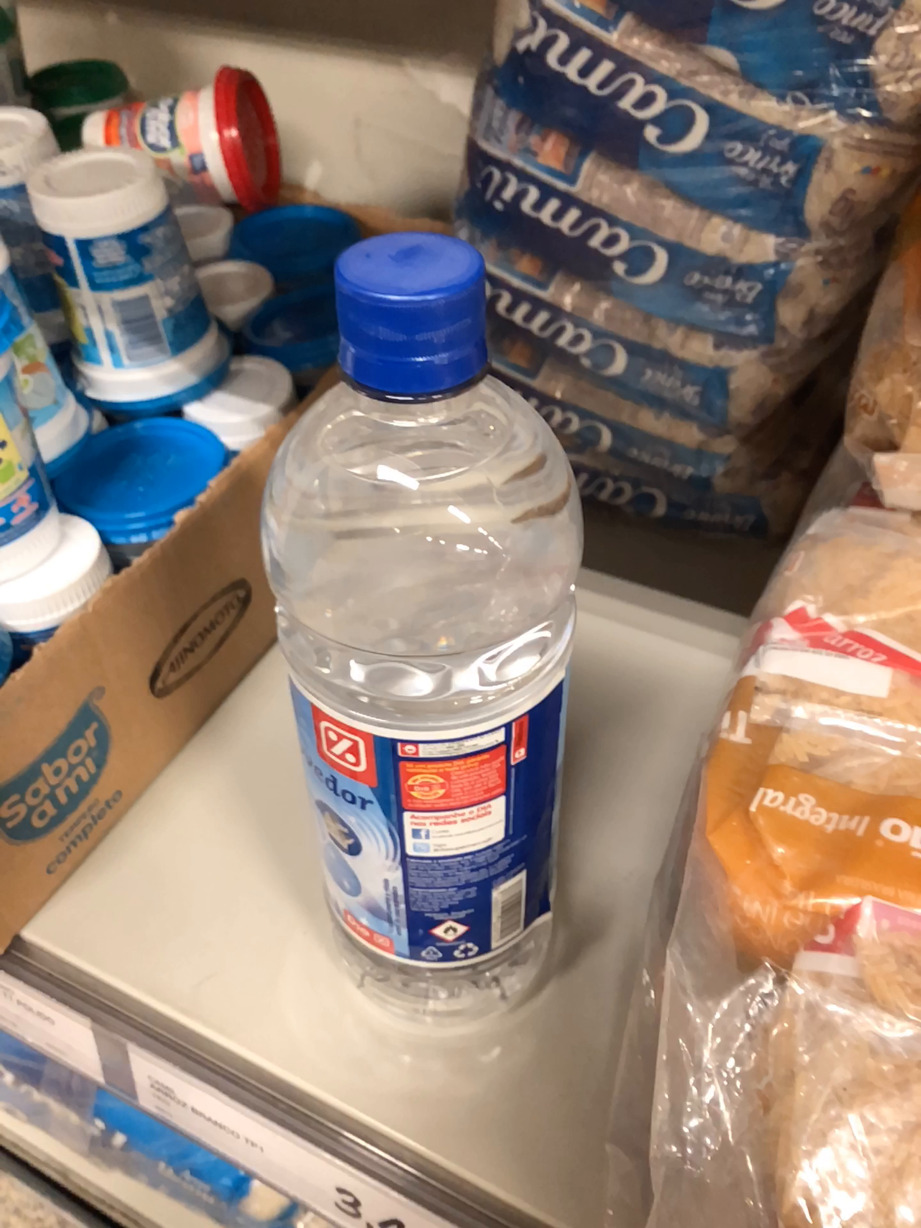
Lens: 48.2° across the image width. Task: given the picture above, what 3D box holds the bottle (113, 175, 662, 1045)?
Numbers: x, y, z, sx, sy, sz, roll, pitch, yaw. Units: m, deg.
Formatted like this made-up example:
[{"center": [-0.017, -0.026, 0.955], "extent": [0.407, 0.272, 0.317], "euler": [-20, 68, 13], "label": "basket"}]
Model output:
[{"center": [-0.006, 0.026, 0.288], "extent": [0.090, 0.258, 0.081], "euler": [-3, 45, 1], "label": "bottle"}]
